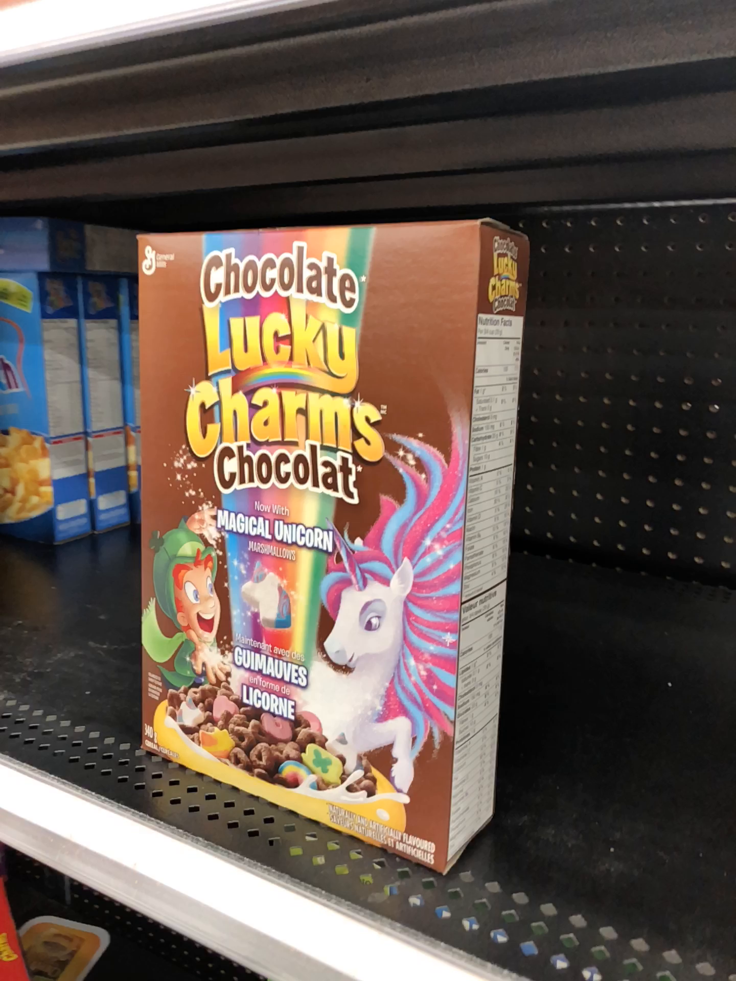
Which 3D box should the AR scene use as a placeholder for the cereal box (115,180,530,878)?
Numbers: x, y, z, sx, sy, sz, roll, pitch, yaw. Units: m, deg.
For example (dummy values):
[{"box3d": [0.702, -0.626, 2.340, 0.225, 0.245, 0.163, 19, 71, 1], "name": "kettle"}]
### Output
[{"box3d": [-0.033, 0.010, 0.402, 0.200, 0.289, 0.050, 8, 12, 32], "name": "cereal box"}]
